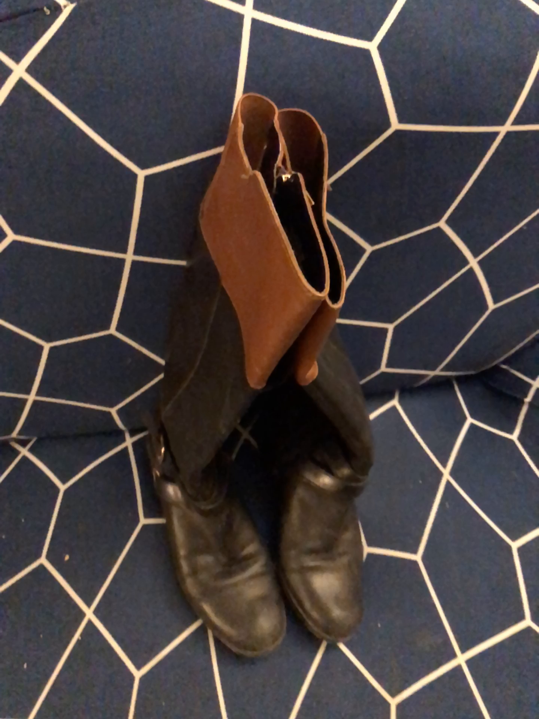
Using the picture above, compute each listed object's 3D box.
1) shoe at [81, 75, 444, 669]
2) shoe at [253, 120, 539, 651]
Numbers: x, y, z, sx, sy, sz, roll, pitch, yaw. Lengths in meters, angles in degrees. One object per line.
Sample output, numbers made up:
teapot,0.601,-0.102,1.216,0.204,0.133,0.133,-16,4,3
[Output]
shoe,-0.040,0.063,0.459,0.110,0.428,0.271,-9,61,-11
shoe,0.052,0.065,0.443,0.100,0.379,0.251,-2,62,-5
